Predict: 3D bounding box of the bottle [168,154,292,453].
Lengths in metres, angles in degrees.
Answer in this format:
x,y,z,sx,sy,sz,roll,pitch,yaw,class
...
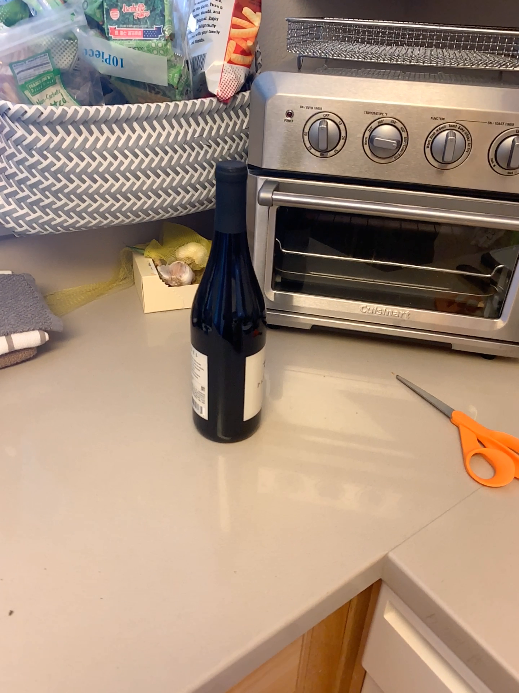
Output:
x,y,z,sx,sy,sz,roll,pitch,yaw,class
-0.027,-0.034,0.530,0.090,0.278,0.091,2,32,-1,bottle
